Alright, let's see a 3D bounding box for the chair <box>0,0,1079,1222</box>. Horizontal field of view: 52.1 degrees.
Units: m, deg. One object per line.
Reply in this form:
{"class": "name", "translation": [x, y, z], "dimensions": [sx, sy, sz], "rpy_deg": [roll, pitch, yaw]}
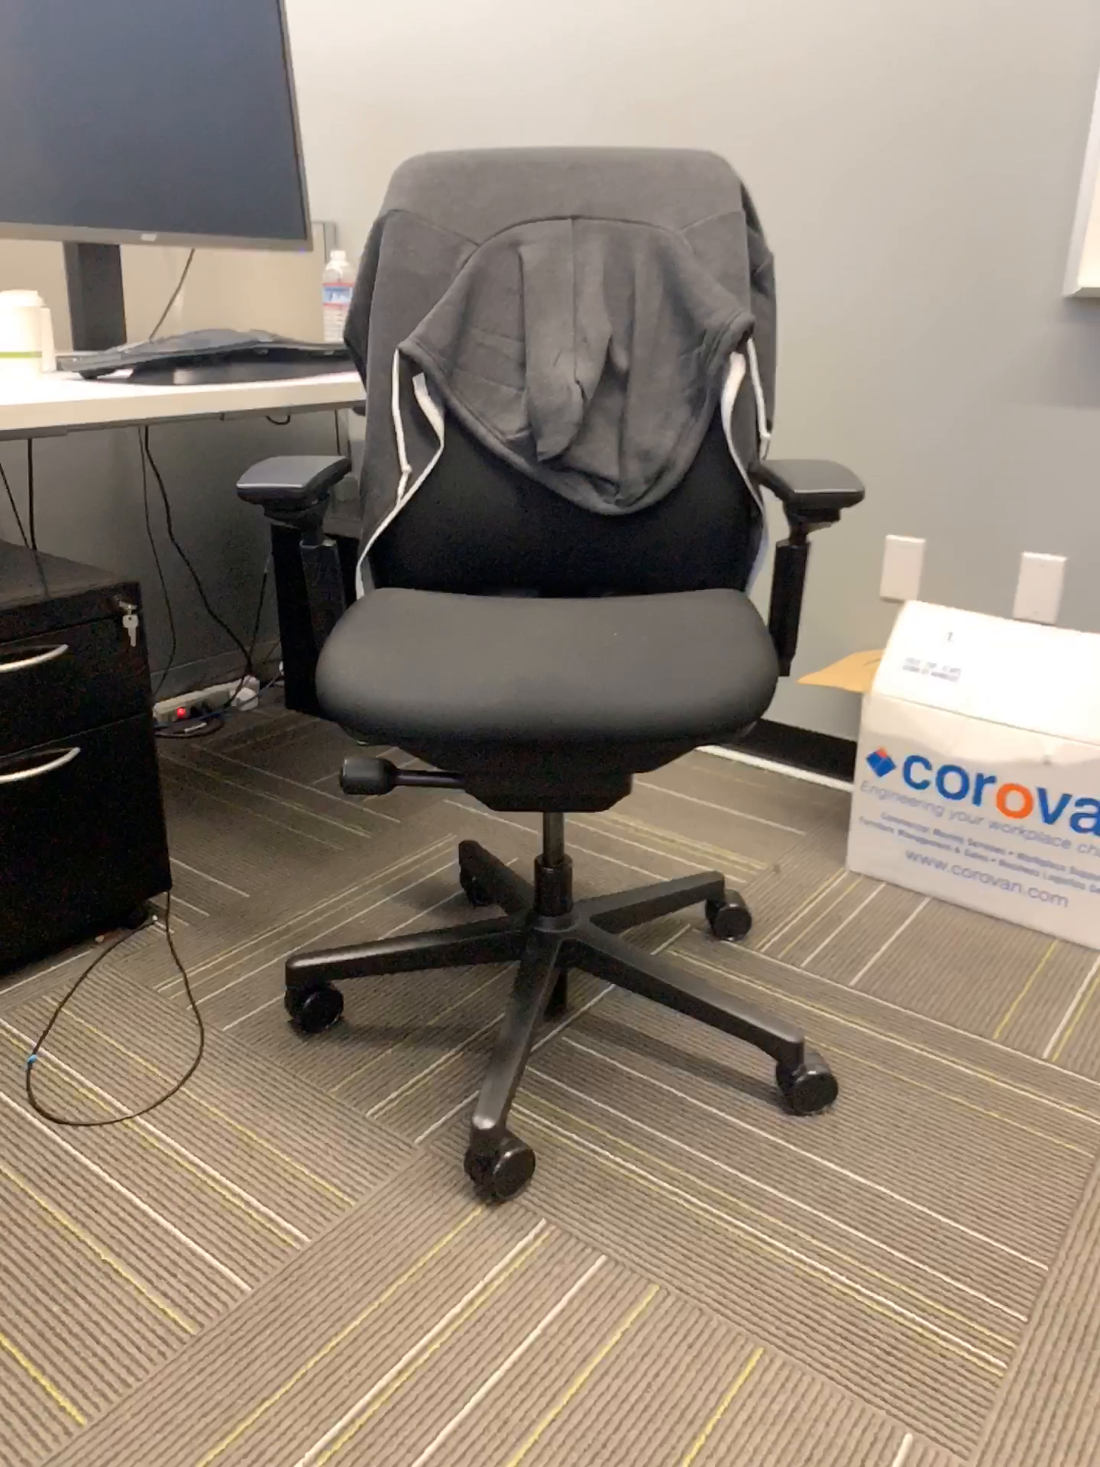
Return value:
{"class": "chair", "translation": [-0.006, -0.185, 1.373], "dimensions": [0.750, 1.075, 0.884], "rpy_deg": [2, 21, 3]}
